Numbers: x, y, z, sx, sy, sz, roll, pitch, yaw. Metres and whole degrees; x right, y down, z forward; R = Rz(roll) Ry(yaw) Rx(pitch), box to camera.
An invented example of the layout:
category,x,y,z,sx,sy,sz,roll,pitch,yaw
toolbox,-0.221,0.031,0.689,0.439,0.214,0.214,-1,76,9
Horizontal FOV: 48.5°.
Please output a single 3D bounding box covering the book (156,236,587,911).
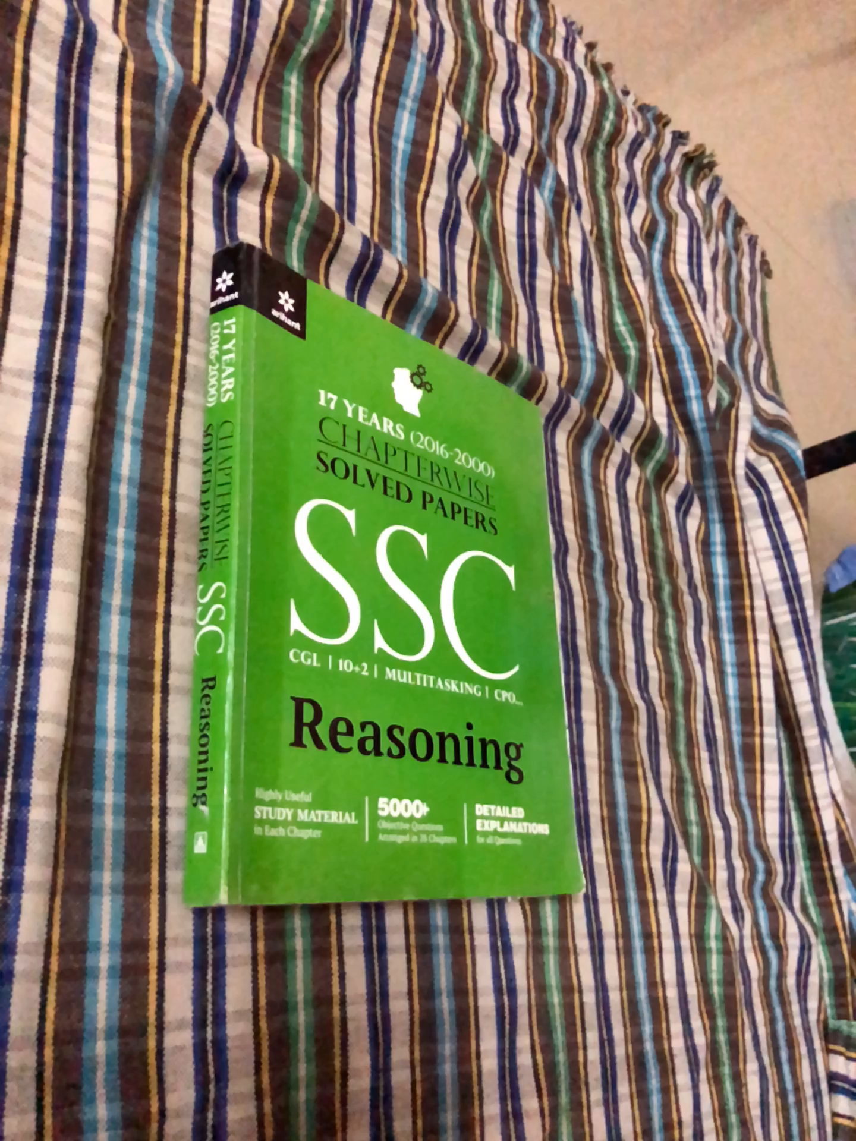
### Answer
category,x,y,z,sx,sy,sz,roll,pitch,yaw
book,-0.015,0.013,0.445,0.211,0.040,0.270,18,62,-44
